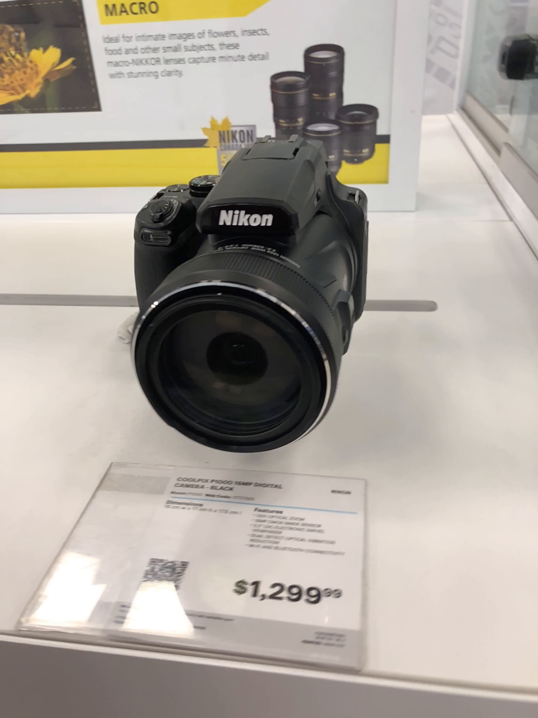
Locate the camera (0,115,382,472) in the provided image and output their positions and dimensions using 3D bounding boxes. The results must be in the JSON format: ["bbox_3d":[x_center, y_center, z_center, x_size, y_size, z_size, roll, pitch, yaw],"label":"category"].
[{"bbox_3d":[-0.024,-0.052,0.317,0.160,0.110,0.191,2,31,10],"label":"camera"}]
